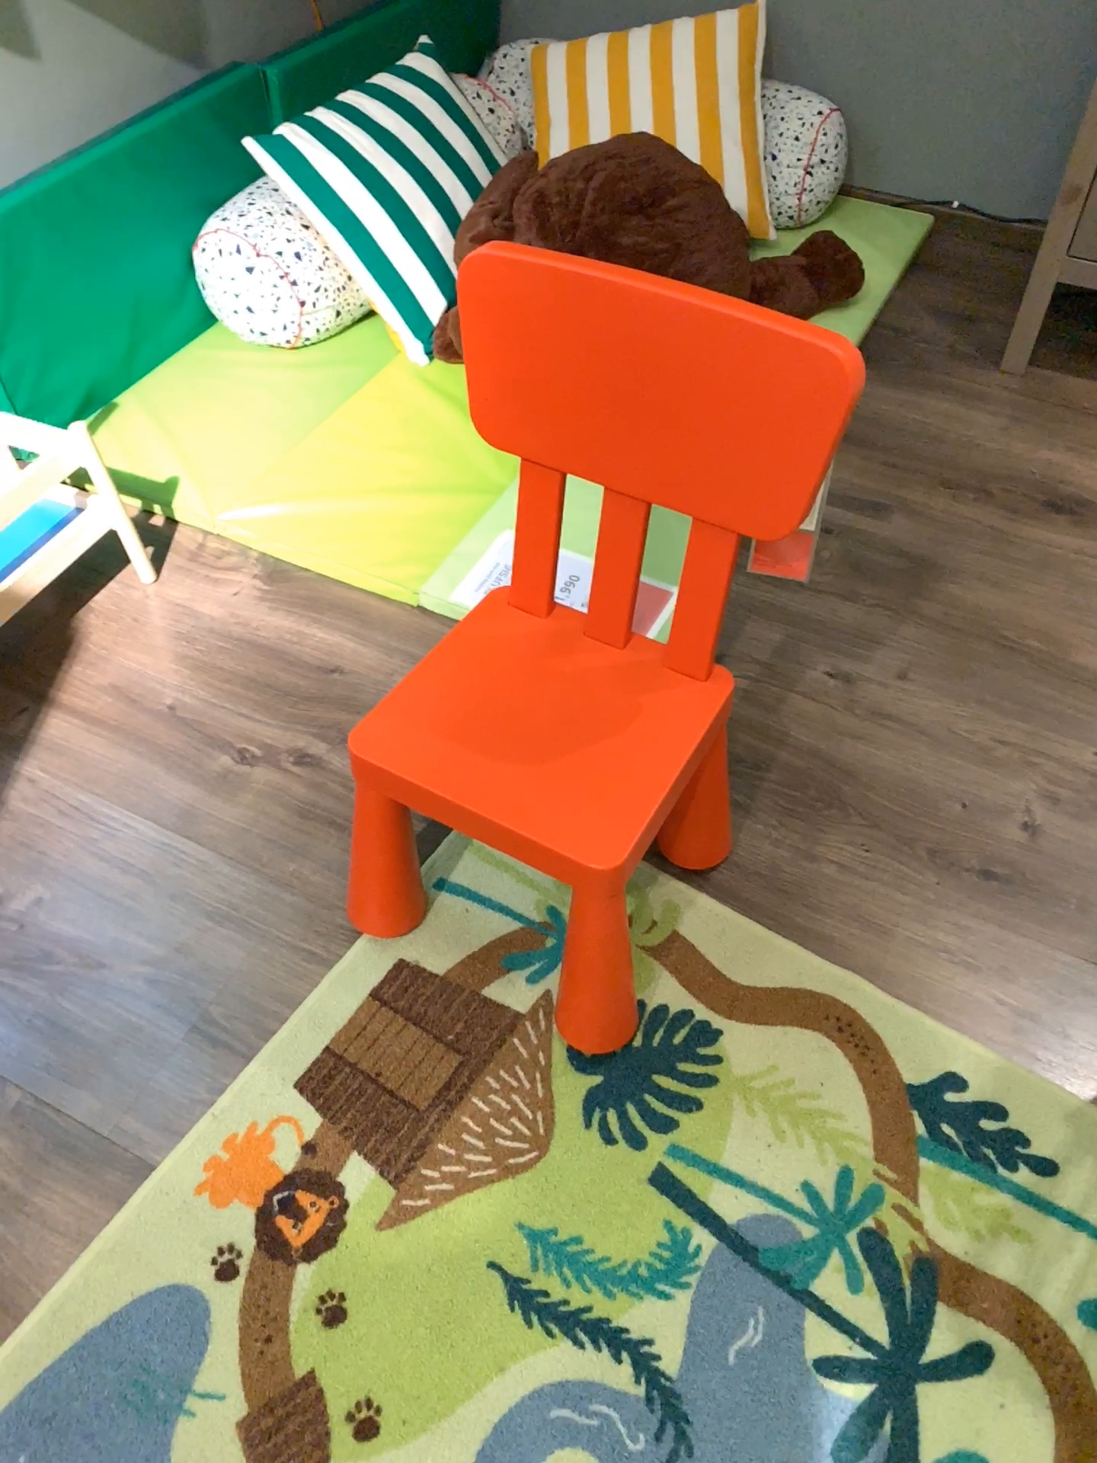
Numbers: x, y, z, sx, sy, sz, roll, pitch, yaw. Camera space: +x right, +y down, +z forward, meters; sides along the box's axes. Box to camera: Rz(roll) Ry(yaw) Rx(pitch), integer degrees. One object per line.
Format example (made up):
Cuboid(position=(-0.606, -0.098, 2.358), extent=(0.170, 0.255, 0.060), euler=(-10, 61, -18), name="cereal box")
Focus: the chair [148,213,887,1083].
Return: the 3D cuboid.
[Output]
Cuboid(position=(-0.003, -0.070, 1.081), extent=(0.380, 0.598, 0.461), euler=(25, 53, 20), name="chair")
